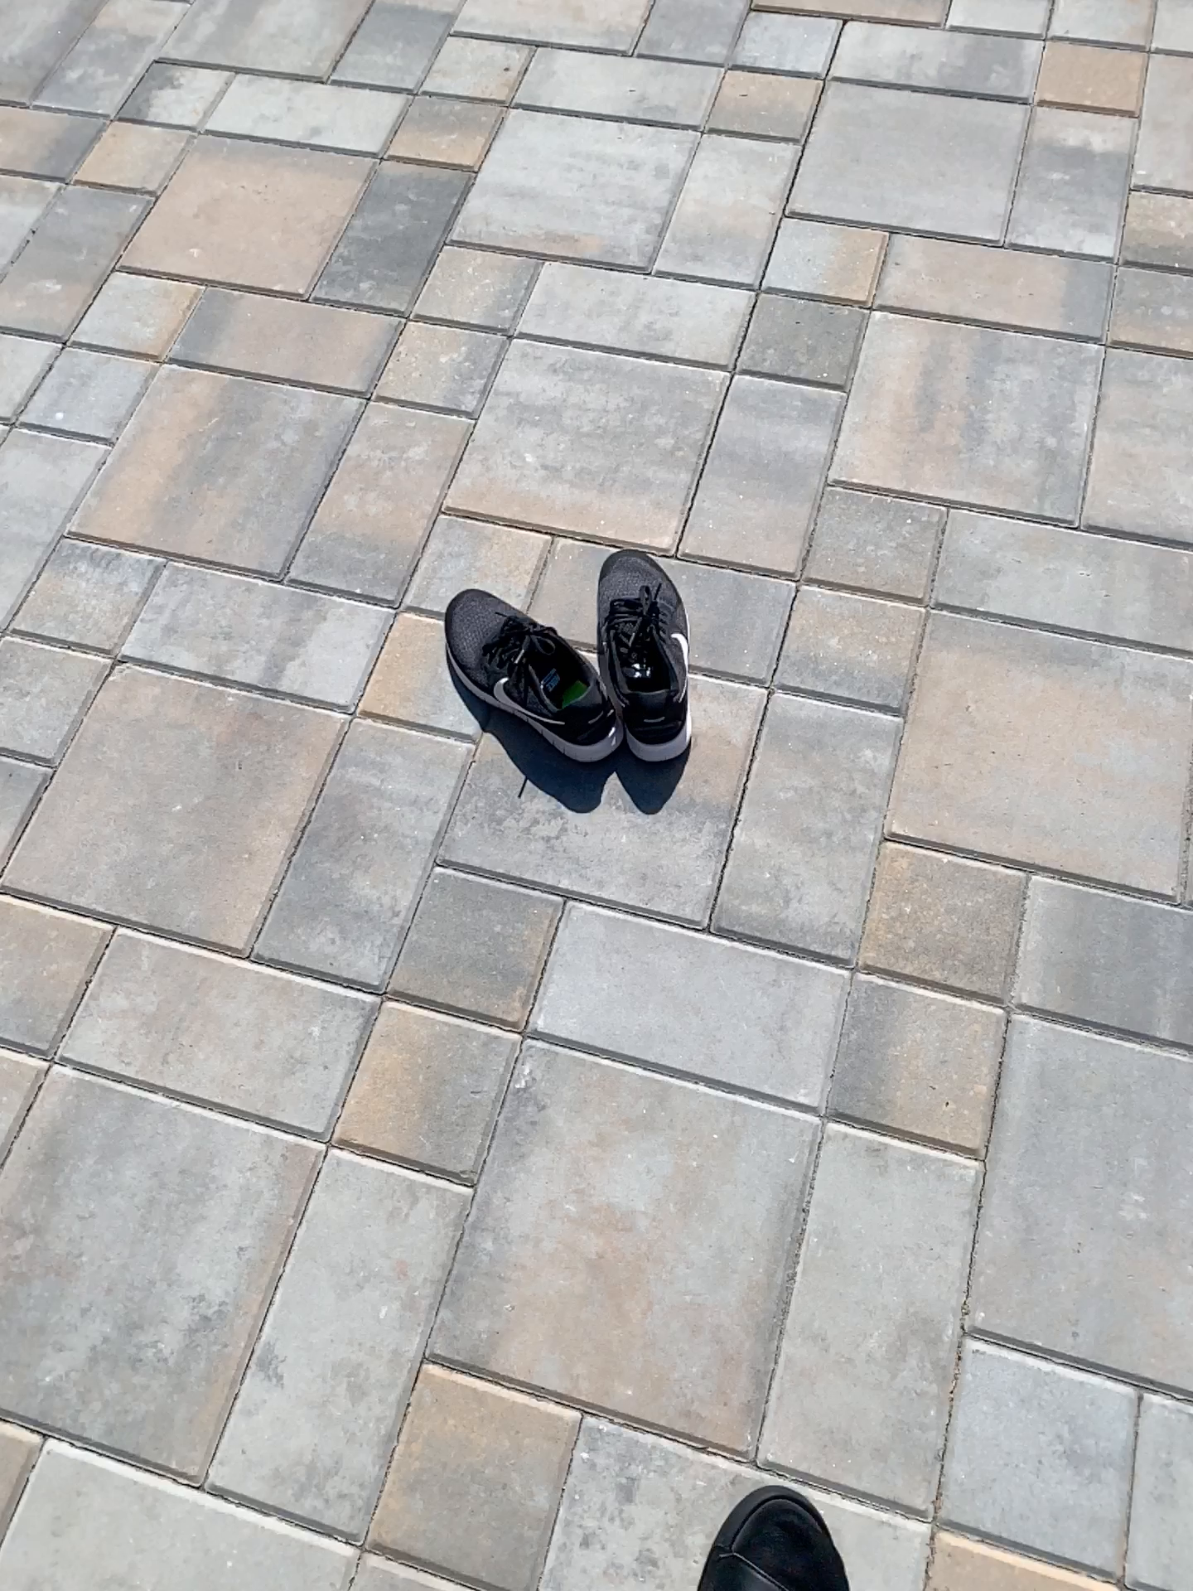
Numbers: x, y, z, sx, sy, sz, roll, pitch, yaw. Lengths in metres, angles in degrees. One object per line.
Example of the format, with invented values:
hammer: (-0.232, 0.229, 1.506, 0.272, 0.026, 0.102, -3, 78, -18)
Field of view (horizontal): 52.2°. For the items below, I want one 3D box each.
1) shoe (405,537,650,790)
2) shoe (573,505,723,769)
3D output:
shoe: (-0.072, -0.143, 1.308, 0.251, 0.110, 0.110, 41, 73, 20)
shoe: (0.052, -0.170, 1.294, 0.110, 0.100, 0.251, -10, 64, -2)
